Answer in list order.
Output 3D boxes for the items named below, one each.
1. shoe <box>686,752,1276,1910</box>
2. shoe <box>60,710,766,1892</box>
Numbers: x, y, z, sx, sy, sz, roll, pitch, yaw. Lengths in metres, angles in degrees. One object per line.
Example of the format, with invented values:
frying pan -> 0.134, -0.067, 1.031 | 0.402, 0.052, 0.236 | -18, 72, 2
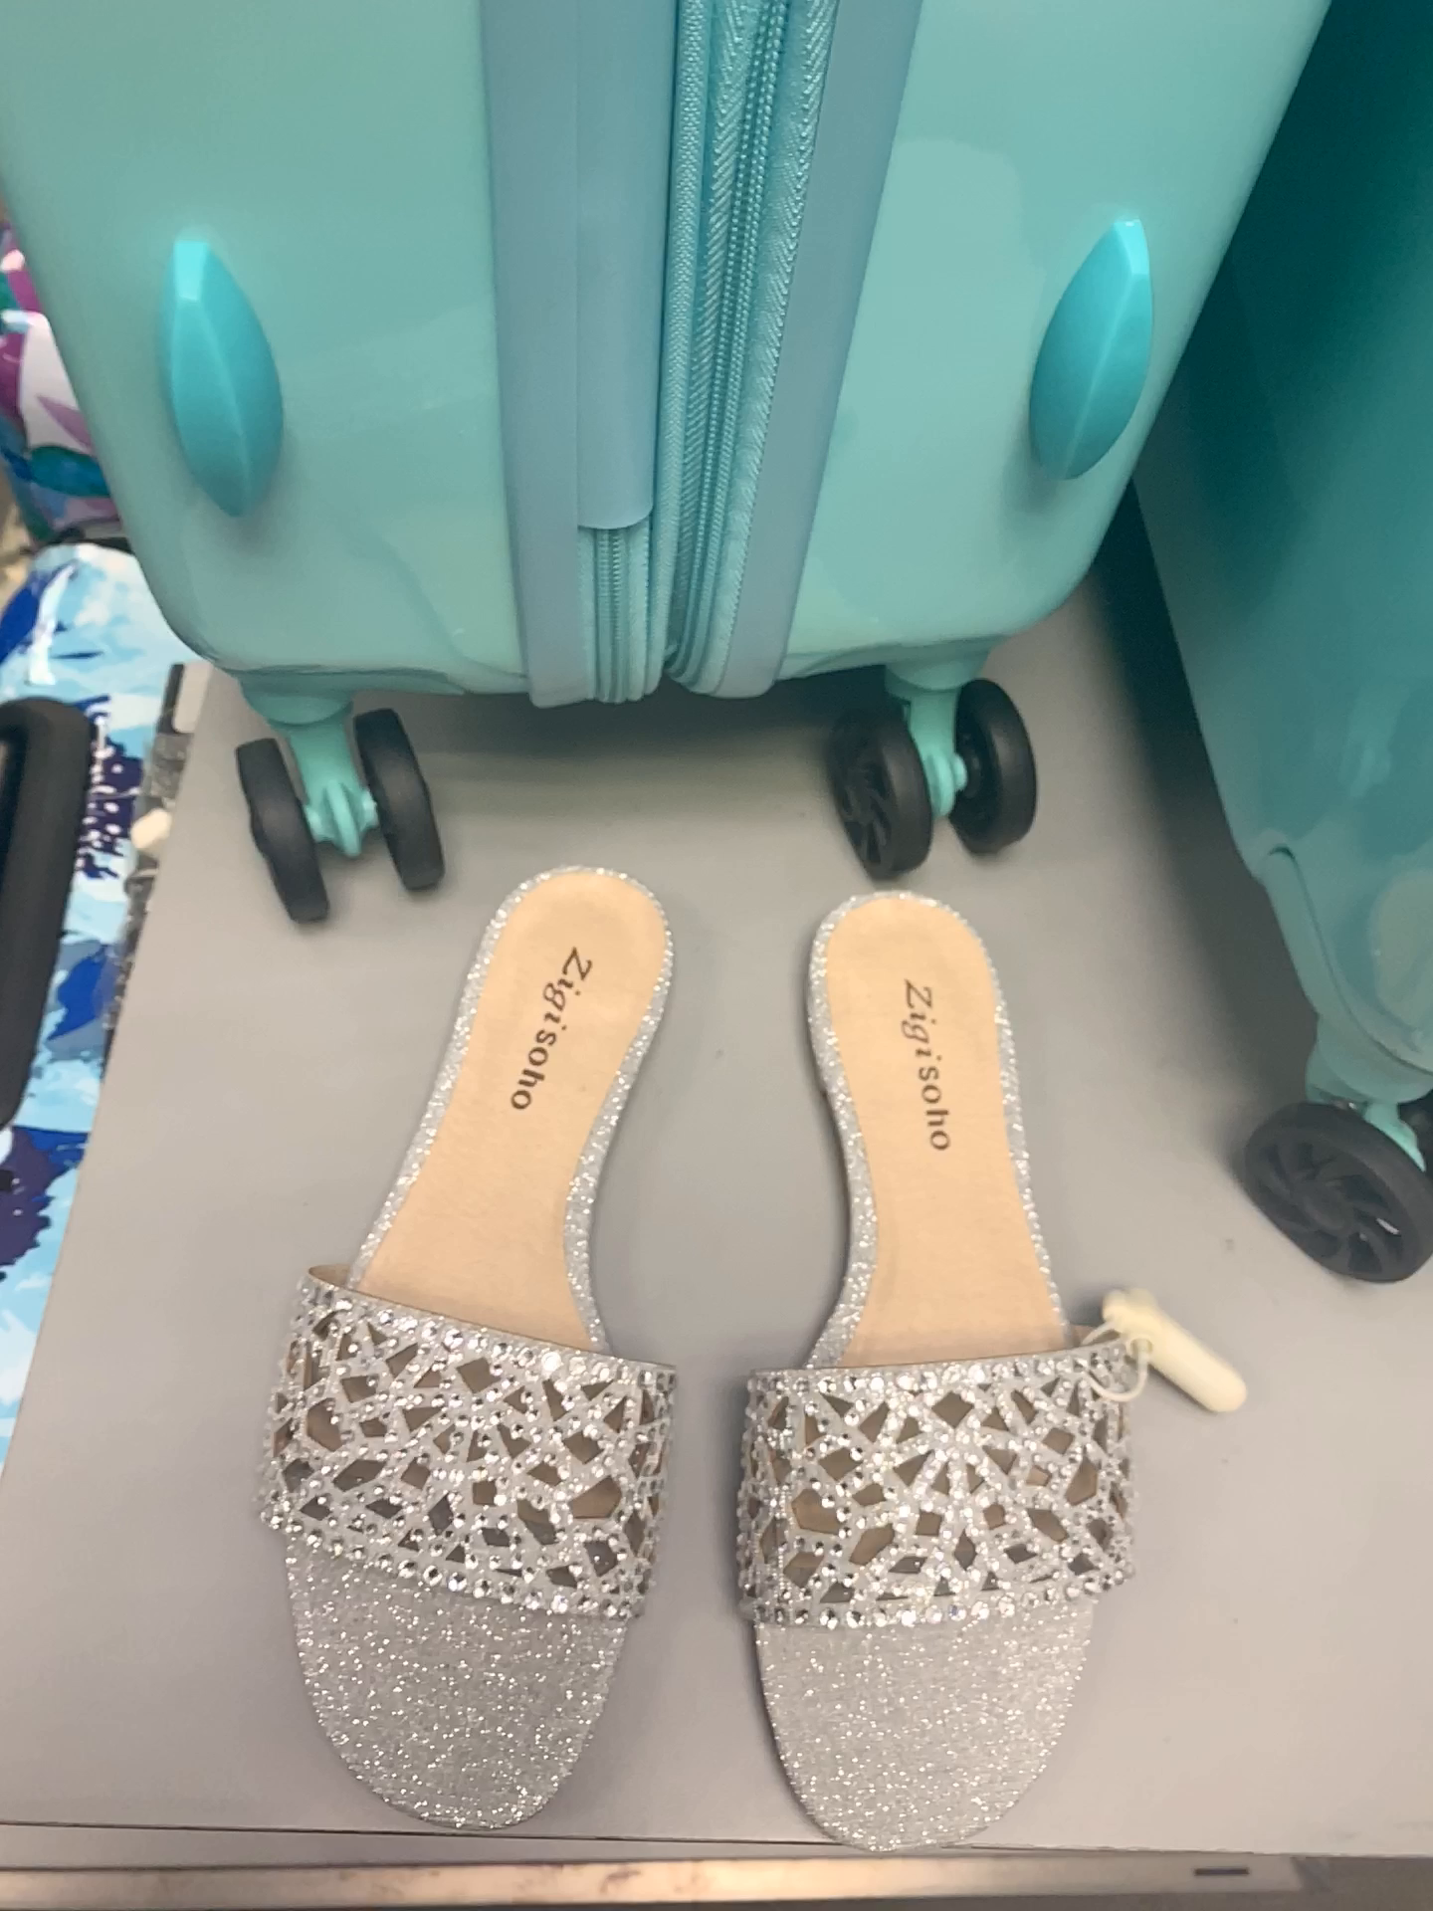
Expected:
shoe -> 0.052, 0.072, 0.339 | 0.098, 0.061, 0.242 | 5, 59, -2
shoe -> -0.051, 0.064, 0.337 | 0.100, 0.061, 0.243 | 7, 59, -1
